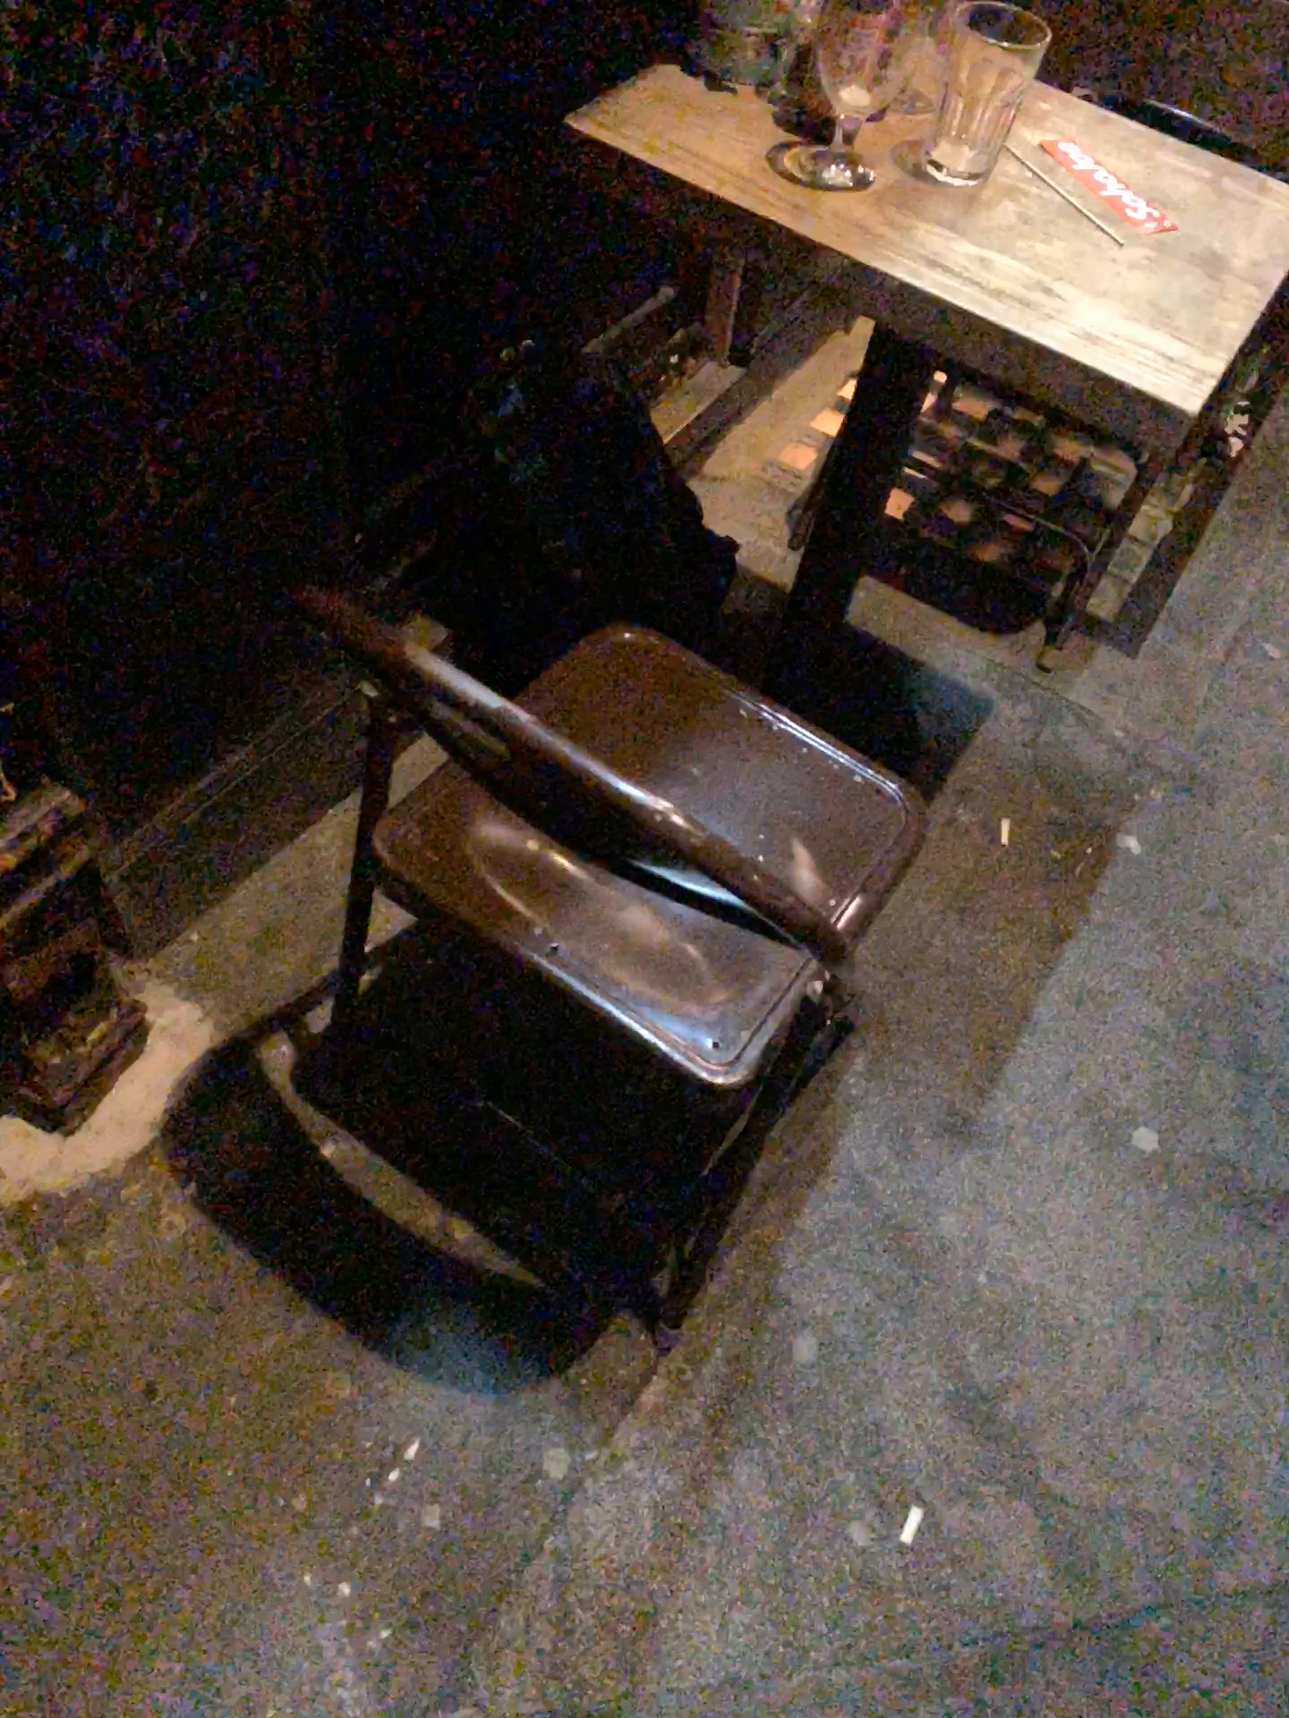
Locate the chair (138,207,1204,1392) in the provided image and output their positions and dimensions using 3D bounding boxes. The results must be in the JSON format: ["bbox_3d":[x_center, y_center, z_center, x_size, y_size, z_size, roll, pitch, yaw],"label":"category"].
[{"bbox_3d":[0.004,-0.019,1.094,0.491,0.723,0.483,31,53,16],"label":"chair"}]
